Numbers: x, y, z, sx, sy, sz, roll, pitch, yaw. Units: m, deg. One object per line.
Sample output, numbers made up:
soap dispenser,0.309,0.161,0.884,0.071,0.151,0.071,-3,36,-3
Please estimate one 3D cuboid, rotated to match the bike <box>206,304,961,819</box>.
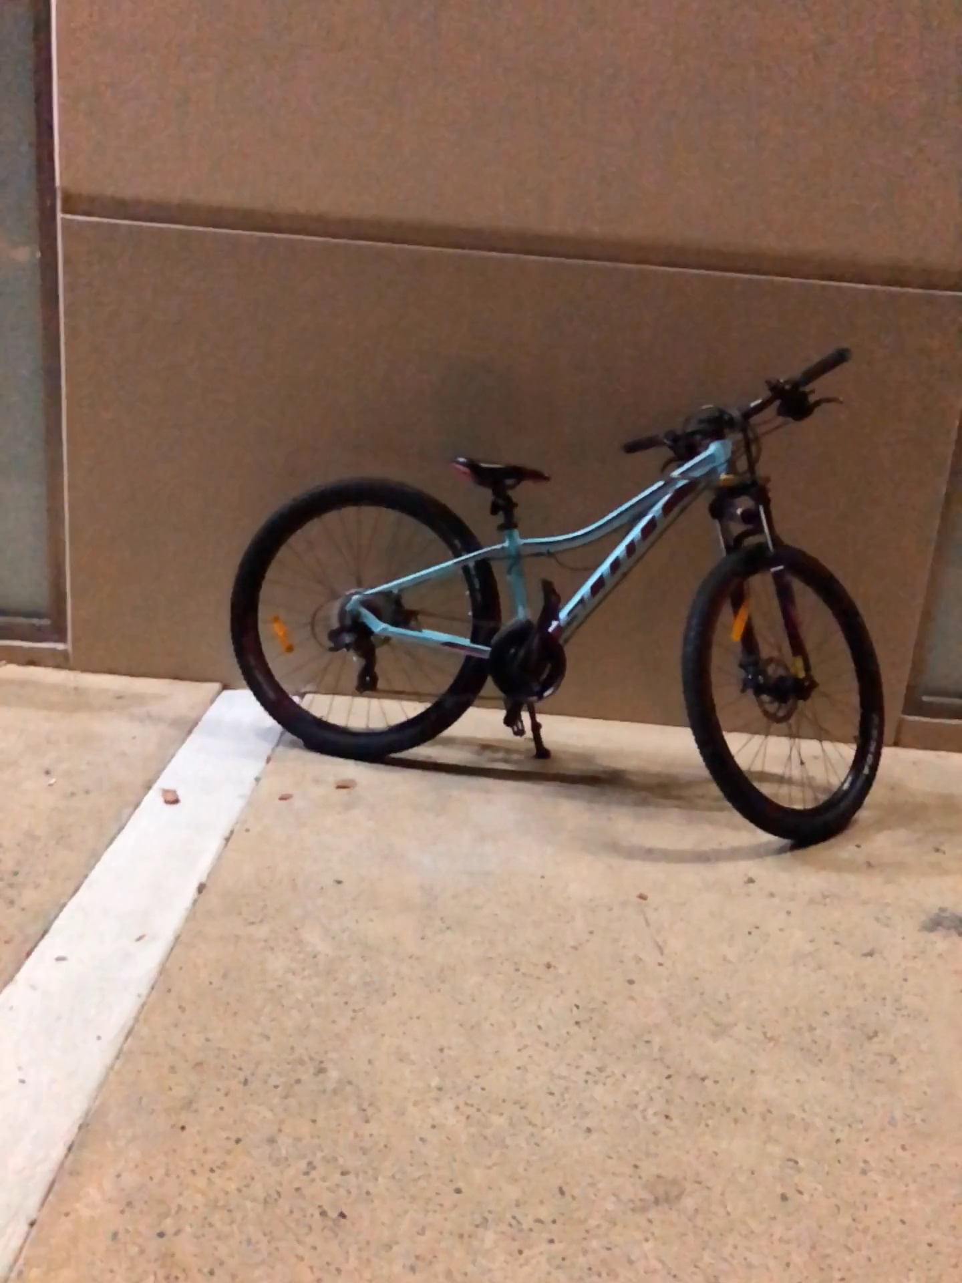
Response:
bike,0.230,-0.234,2.673,1.603,1.063,0.589,5,16,3
